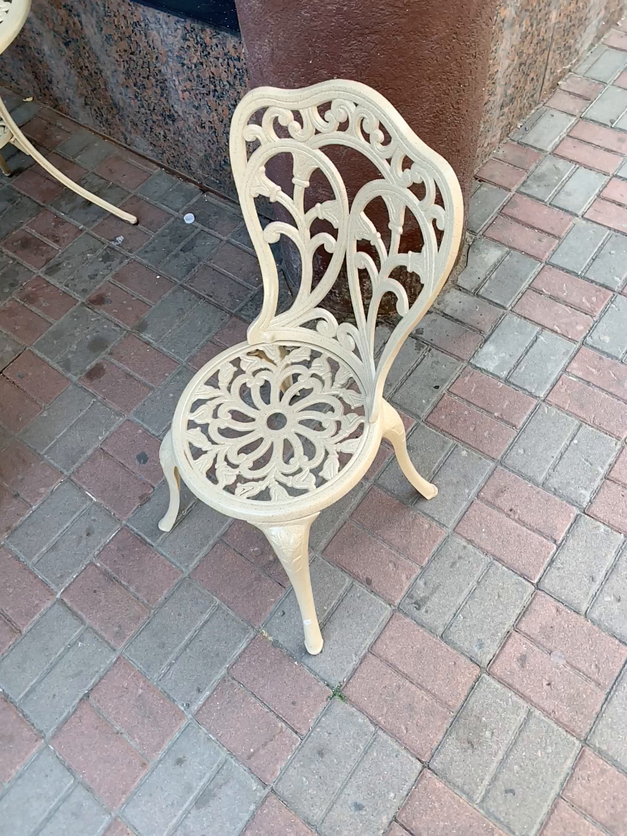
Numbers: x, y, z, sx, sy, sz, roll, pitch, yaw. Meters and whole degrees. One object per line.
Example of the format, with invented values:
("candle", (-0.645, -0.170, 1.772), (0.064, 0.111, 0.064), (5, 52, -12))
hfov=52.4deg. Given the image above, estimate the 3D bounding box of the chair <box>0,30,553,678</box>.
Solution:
("chair", (-0.052, -0.033, 1.050), (0.481, 0.798, 0.550), (33, 67, 24))
